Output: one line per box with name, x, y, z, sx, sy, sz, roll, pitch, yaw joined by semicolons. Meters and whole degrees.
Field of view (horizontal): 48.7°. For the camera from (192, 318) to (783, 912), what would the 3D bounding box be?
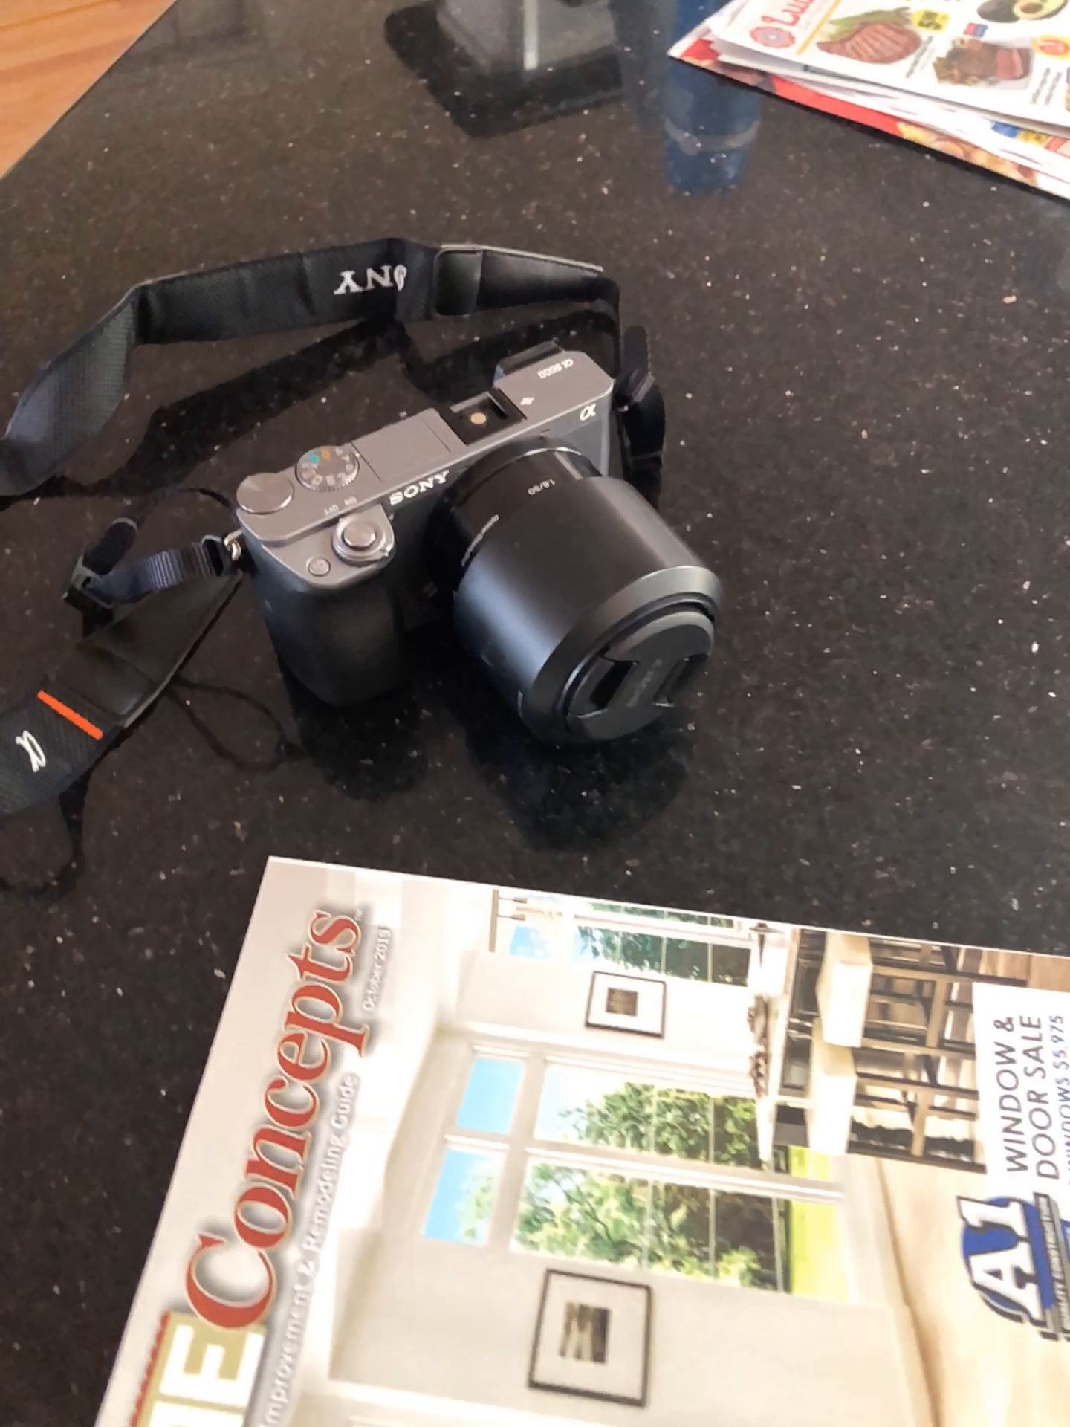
camera;-0.014;-0.030;0.360;0.127;0.100;0.099;-27;60;-17
